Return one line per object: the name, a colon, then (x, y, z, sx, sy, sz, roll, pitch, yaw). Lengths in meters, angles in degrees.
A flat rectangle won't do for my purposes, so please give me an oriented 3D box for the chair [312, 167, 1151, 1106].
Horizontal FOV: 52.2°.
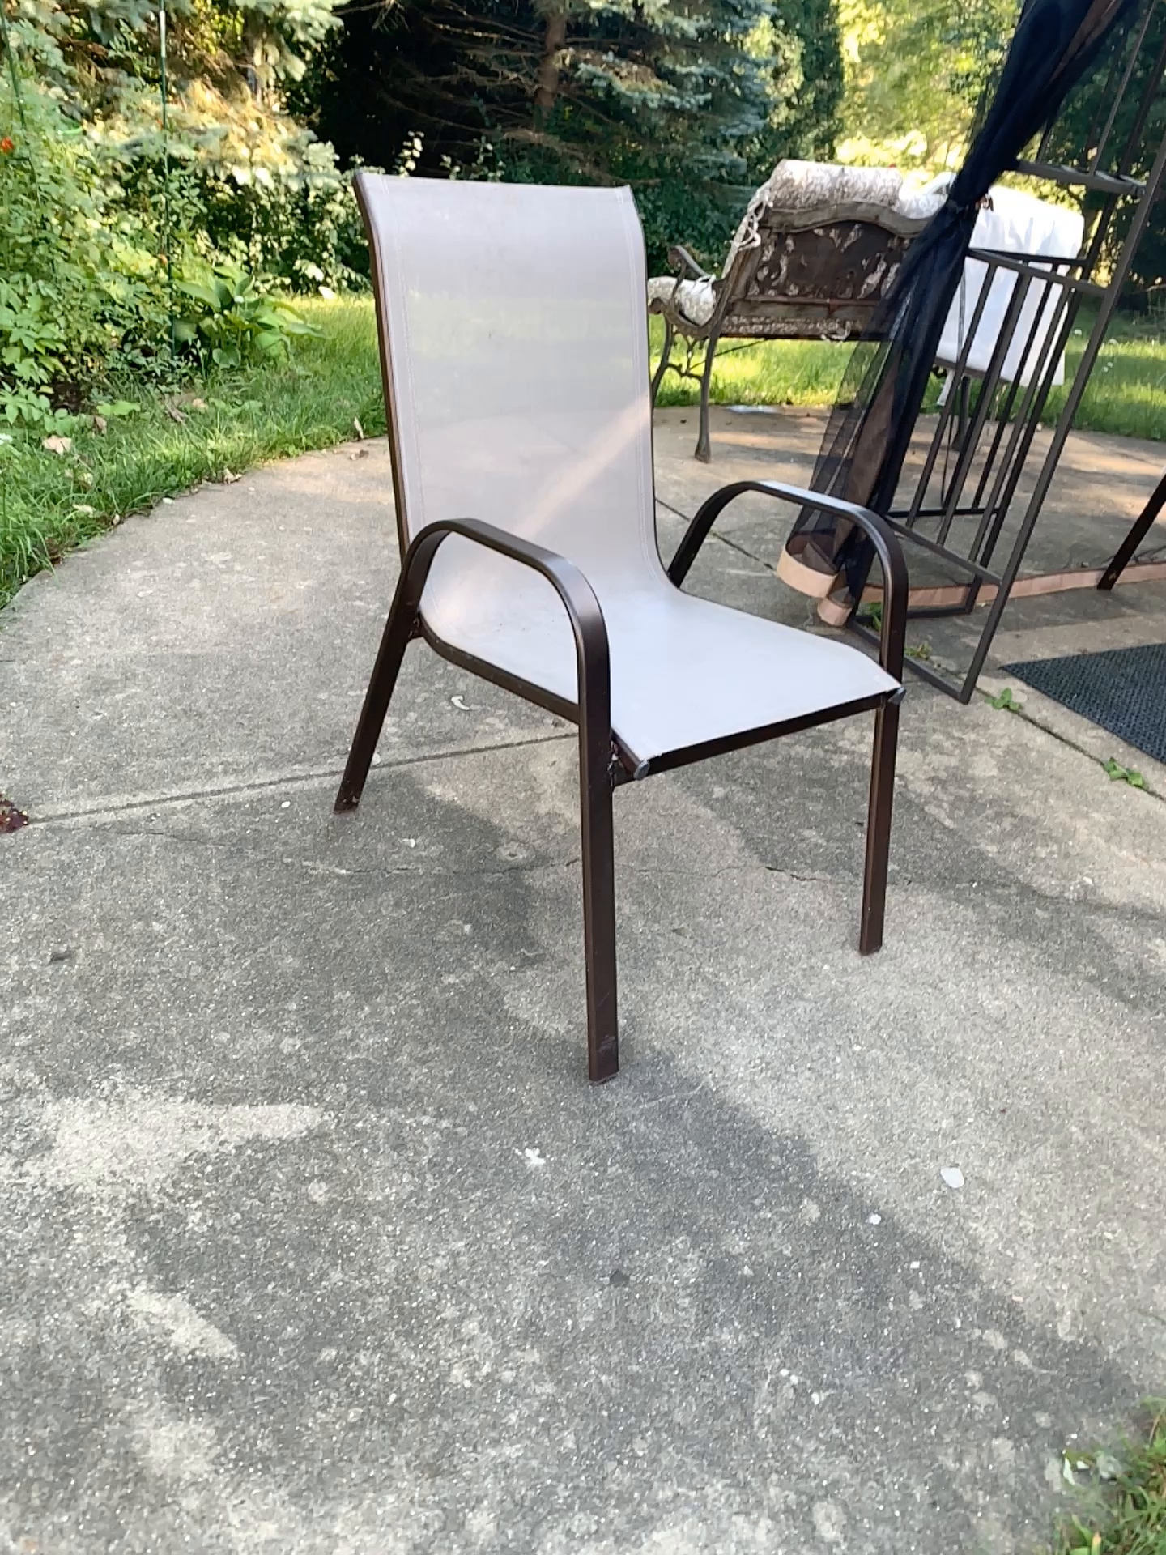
chair: (0.084, -0.236, 1.515, 0.571, 0.845, 0.743, -15, 38, -34)
